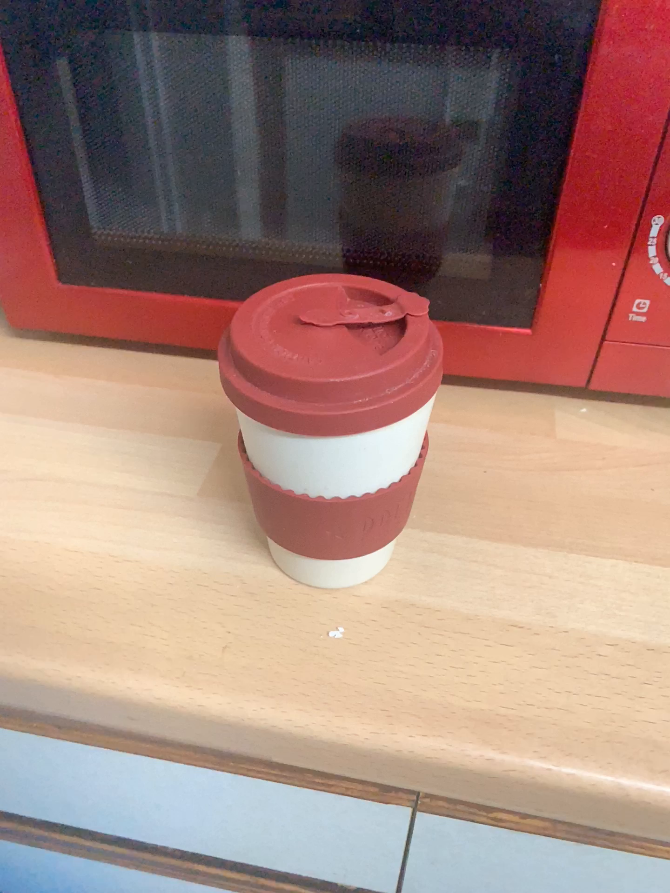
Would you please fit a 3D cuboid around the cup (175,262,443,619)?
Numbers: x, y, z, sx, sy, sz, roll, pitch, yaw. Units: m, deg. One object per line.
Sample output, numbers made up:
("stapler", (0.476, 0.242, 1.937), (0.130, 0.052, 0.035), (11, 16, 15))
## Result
("cup", (-0.005, -0.003, 0.295), (0.087, 0.115, 0.087), (1, 40, -1))
